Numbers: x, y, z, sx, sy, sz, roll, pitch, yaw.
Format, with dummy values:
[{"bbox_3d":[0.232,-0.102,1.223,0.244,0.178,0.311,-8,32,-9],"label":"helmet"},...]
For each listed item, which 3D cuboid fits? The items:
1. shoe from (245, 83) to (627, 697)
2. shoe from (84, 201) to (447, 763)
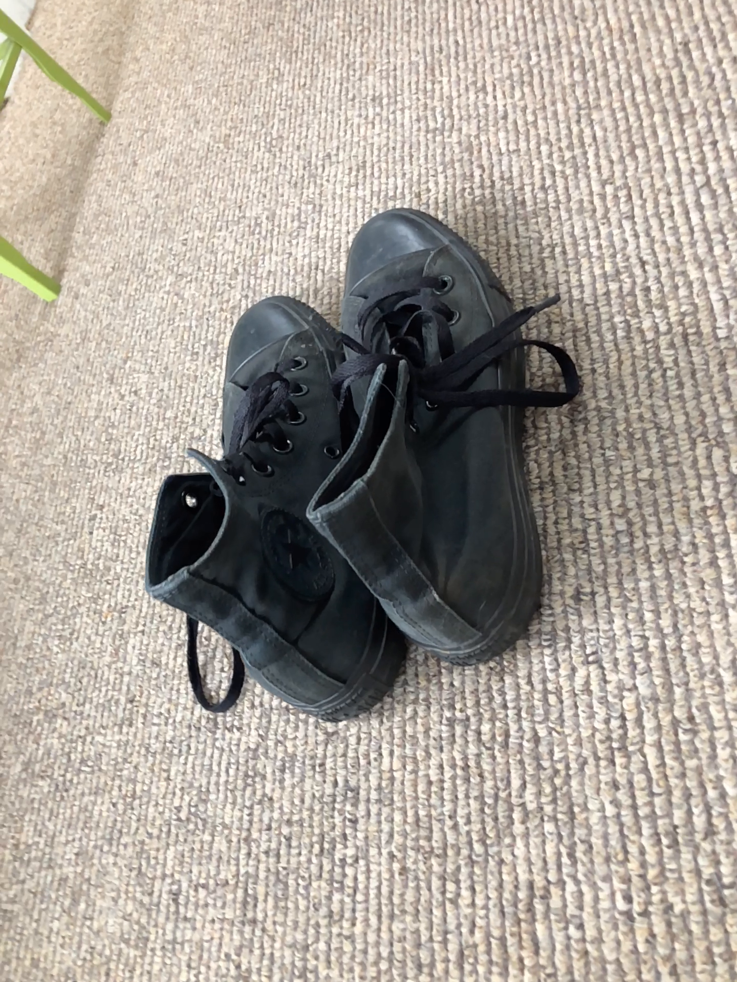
[{"bbox_3d":[0.022,-0.048,0.379,0.088,0.127,0.244,-25,53,24],"label":"shoe"},{"bbox_3d":[-0.054,-0.006,0.405,0.088,0.127,0.237,-28,52,22],"label":"shoe"}]
